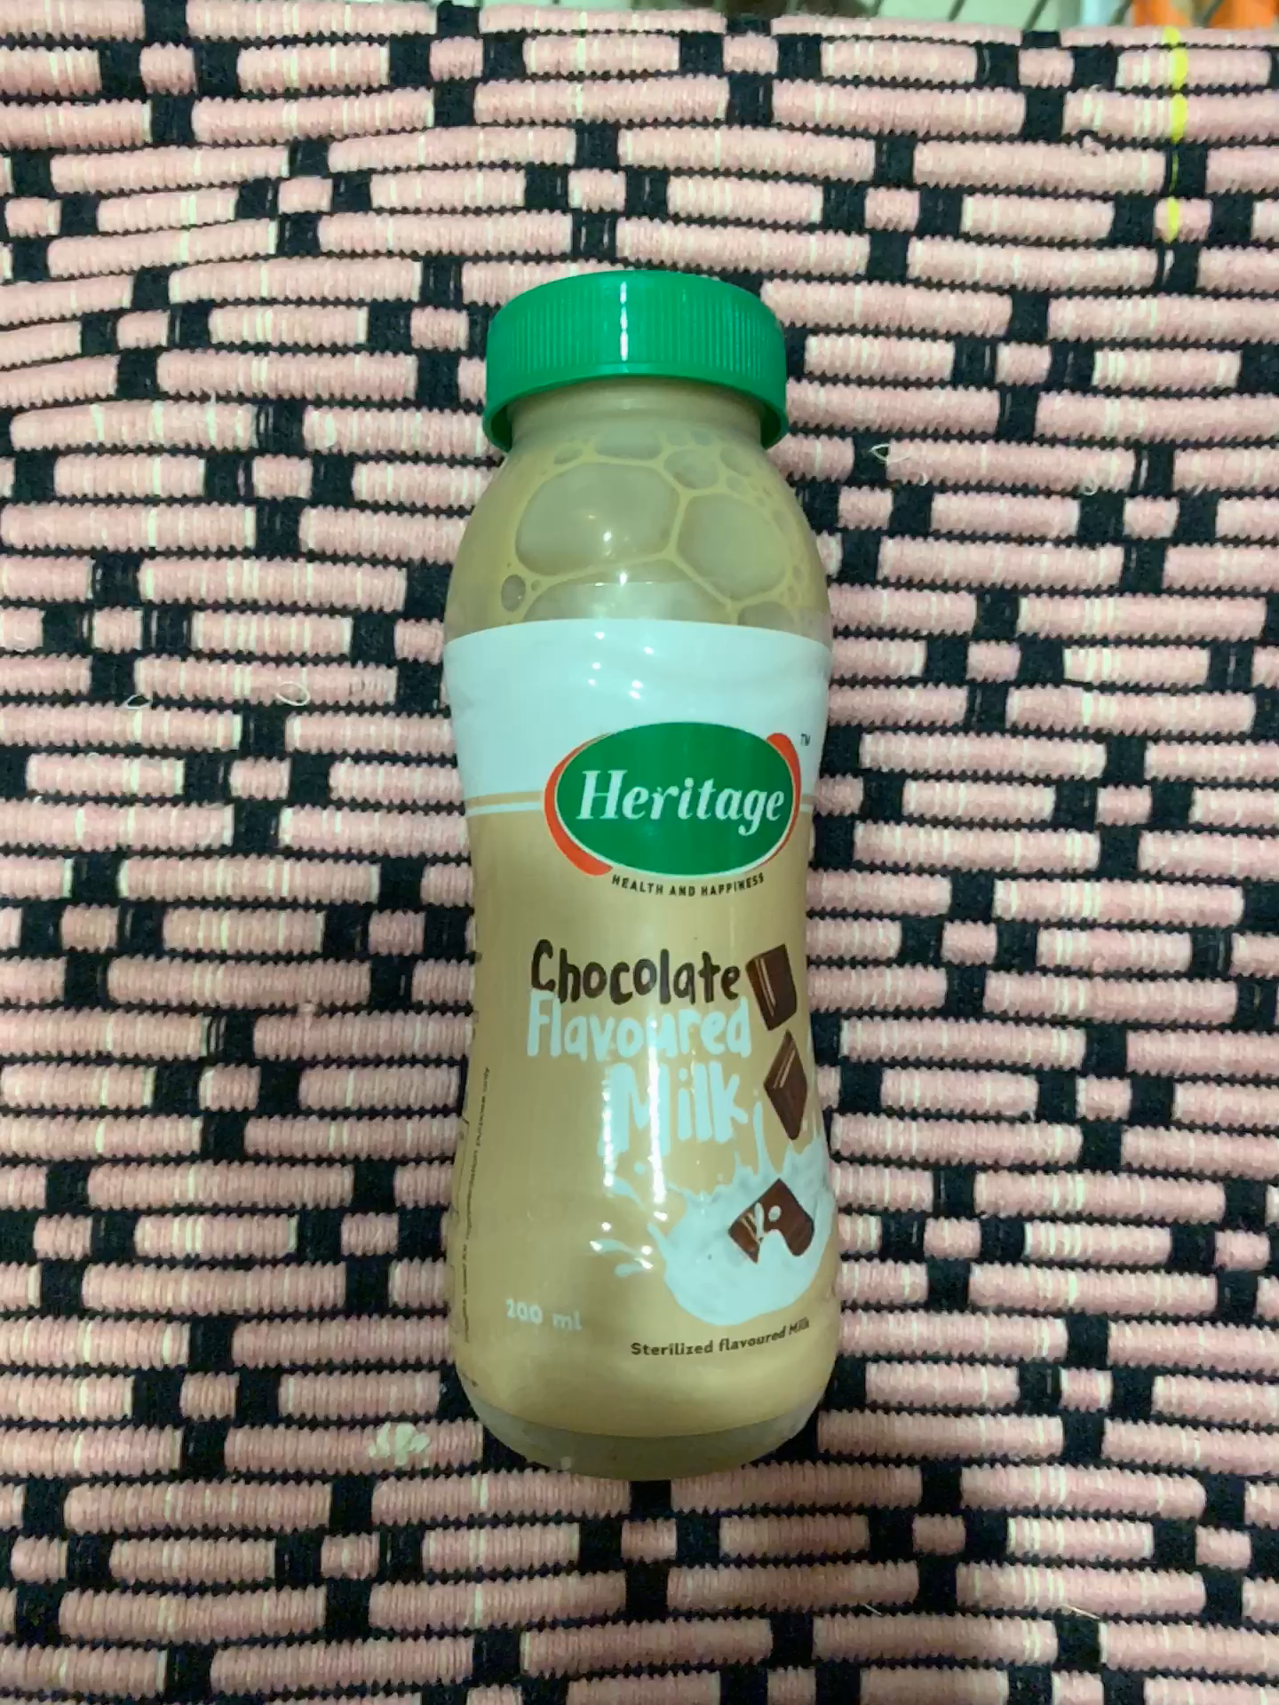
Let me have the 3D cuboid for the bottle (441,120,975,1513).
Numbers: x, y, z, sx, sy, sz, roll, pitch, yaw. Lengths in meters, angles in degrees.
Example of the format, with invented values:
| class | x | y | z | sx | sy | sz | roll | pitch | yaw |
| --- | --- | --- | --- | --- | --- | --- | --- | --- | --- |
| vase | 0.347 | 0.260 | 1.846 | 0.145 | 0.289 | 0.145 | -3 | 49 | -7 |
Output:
| class | x | y | z | sx | sy | sz | roll | pitch | yaw |
| --- | --- | --- | --- | --- | --- | --- | --- | --- | --- |
| bottle | 0.004 | -0.004 | 0.163 | 0.050 | 0.050 | 0.140 | 1 | 84 | -14 |
